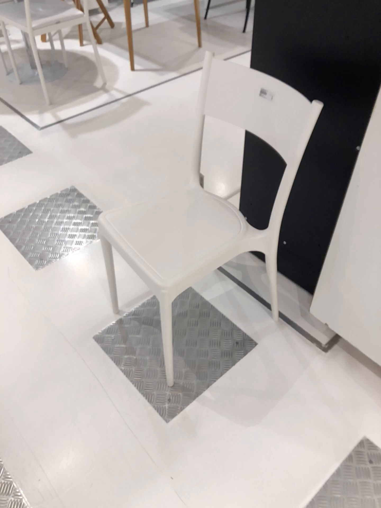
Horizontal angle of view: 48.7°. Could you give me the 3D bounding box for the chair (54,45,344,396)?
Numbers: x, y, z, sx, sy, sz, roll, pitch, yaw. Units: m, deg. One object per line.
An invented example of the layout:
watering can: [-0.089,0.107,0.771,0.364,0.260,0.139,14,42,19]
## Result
chair: [0.016,-0.074,1.187,0.481,0.764,0.412,-28,51,-25]
